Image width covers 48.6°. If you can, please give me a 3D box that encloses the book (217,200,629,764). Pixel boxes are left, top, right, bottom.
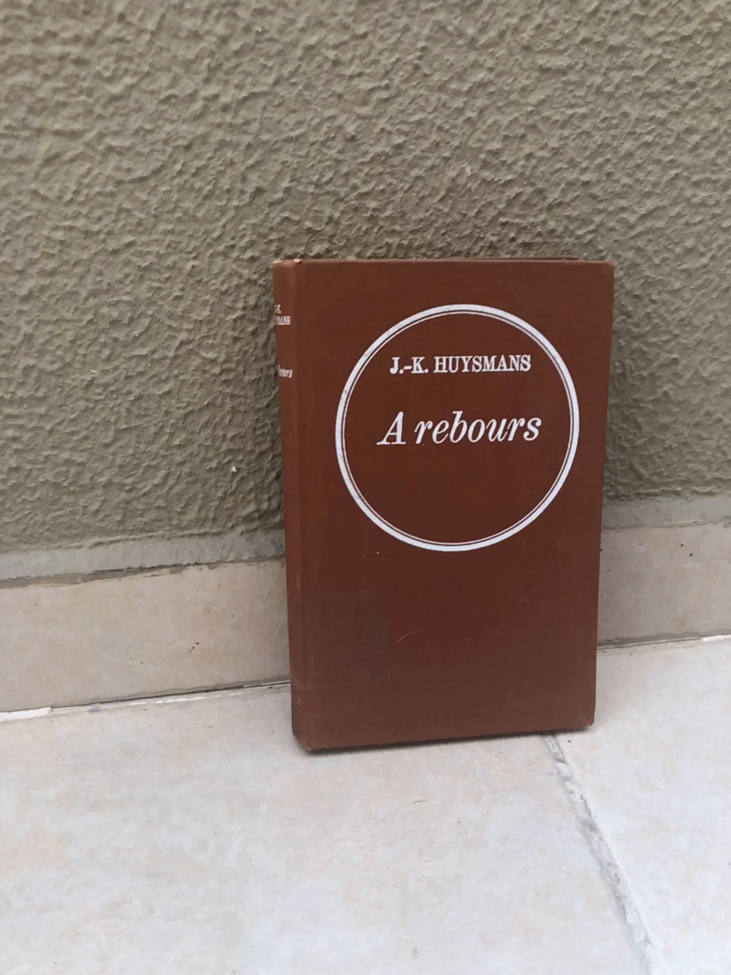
[{"bbox_3d":[0.024,-0.002,0.328,0.150,0.209,0.040,-3,10,-7],"label":"book"}]
